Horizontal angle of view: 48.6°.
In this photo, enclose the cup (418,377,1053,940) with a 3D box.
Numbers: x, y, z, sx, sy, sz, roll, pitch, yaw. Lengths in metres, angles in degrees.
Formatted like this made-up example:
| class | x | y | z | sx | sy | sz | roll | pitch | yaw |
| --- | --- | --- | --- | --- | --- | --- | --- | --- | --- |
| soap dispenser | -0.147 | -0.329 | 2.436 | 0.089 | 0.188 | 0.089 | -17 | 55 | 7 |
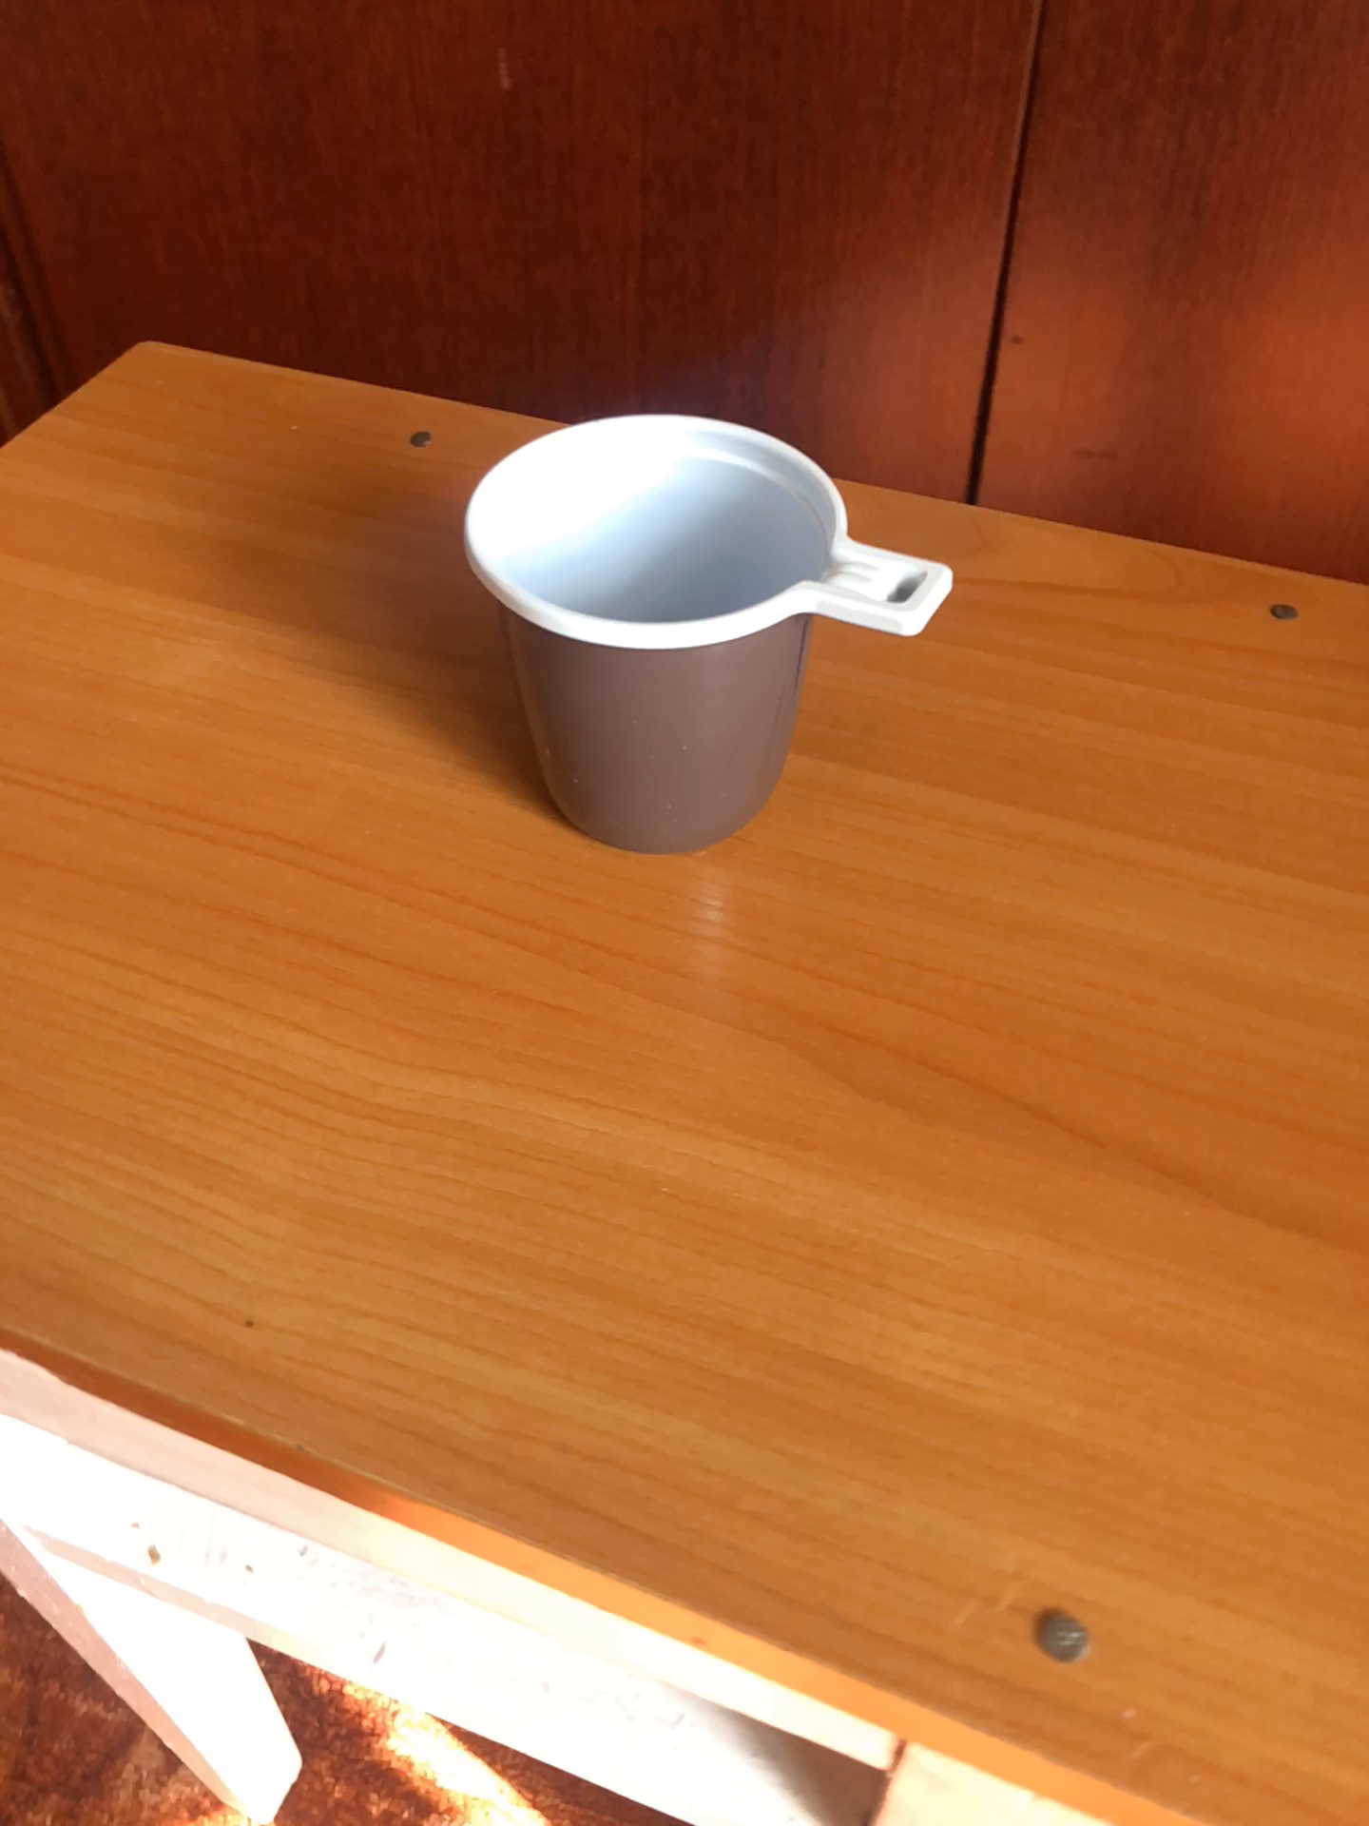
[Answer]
| class | x | y | z | sx | sy | sz | roll | pitch | yaw |
| --- | --- | --- | --- | --- | --- | --- | --- | --- | --- |
| cup | 0.011 | -0.055 | 0.310 | 0.100 | 0.060 | 0.070 | 22 | 50 | 19 |
